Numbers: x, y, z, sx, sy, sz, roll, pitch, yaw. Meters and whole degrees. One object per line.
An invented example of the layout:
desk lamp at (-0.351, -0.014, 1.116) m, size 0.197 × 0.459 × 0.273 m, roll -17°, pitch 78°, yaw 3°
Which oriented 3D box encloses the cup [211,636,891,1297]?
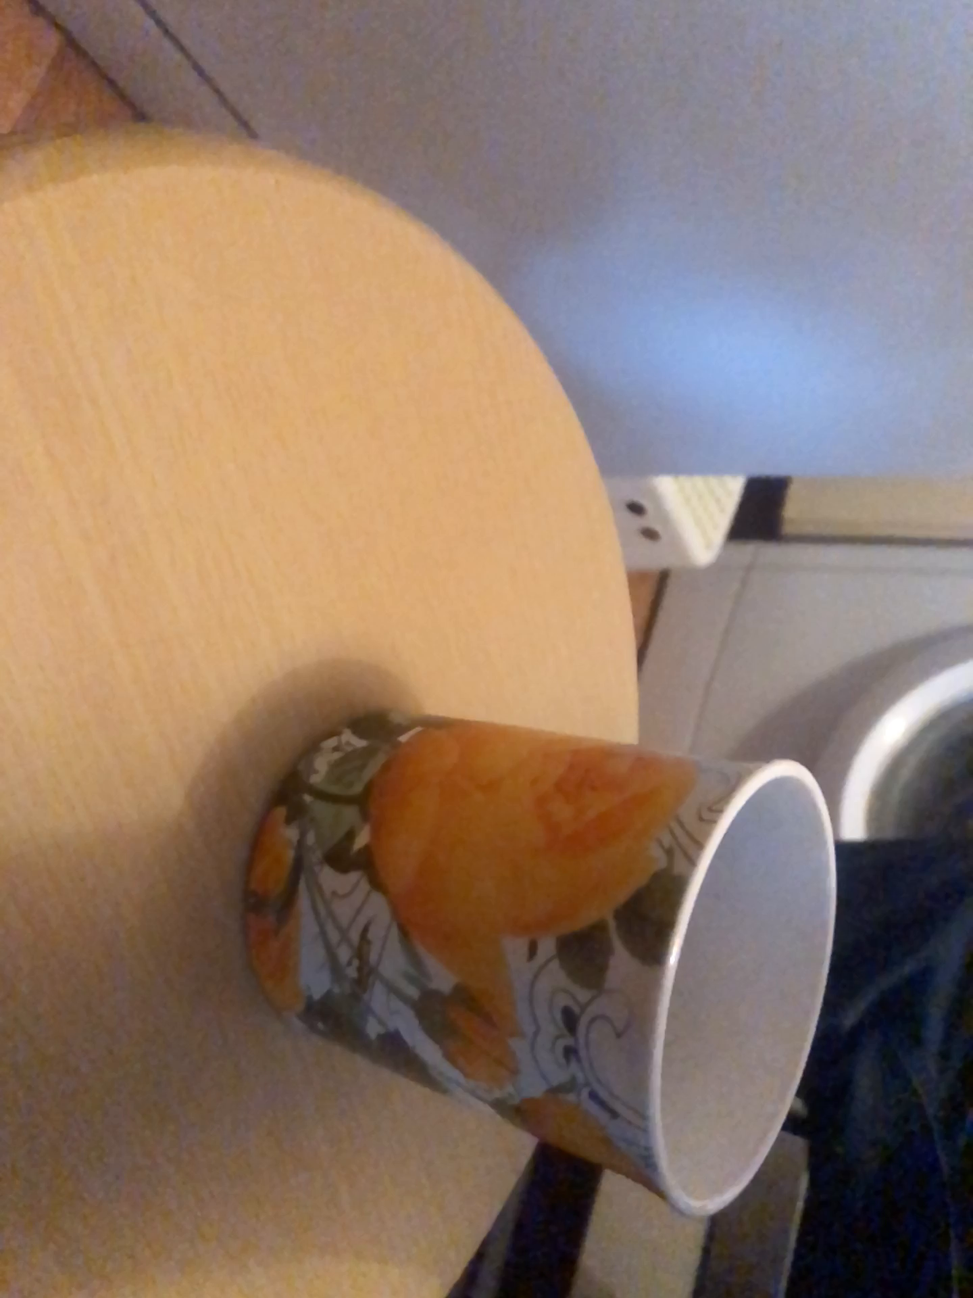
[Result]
cup at (0.019, 0.051, 0.236) m, size 0.111 × 0.097 × 0.082 m, roll -16°, pitch 108°, yaw -51°
